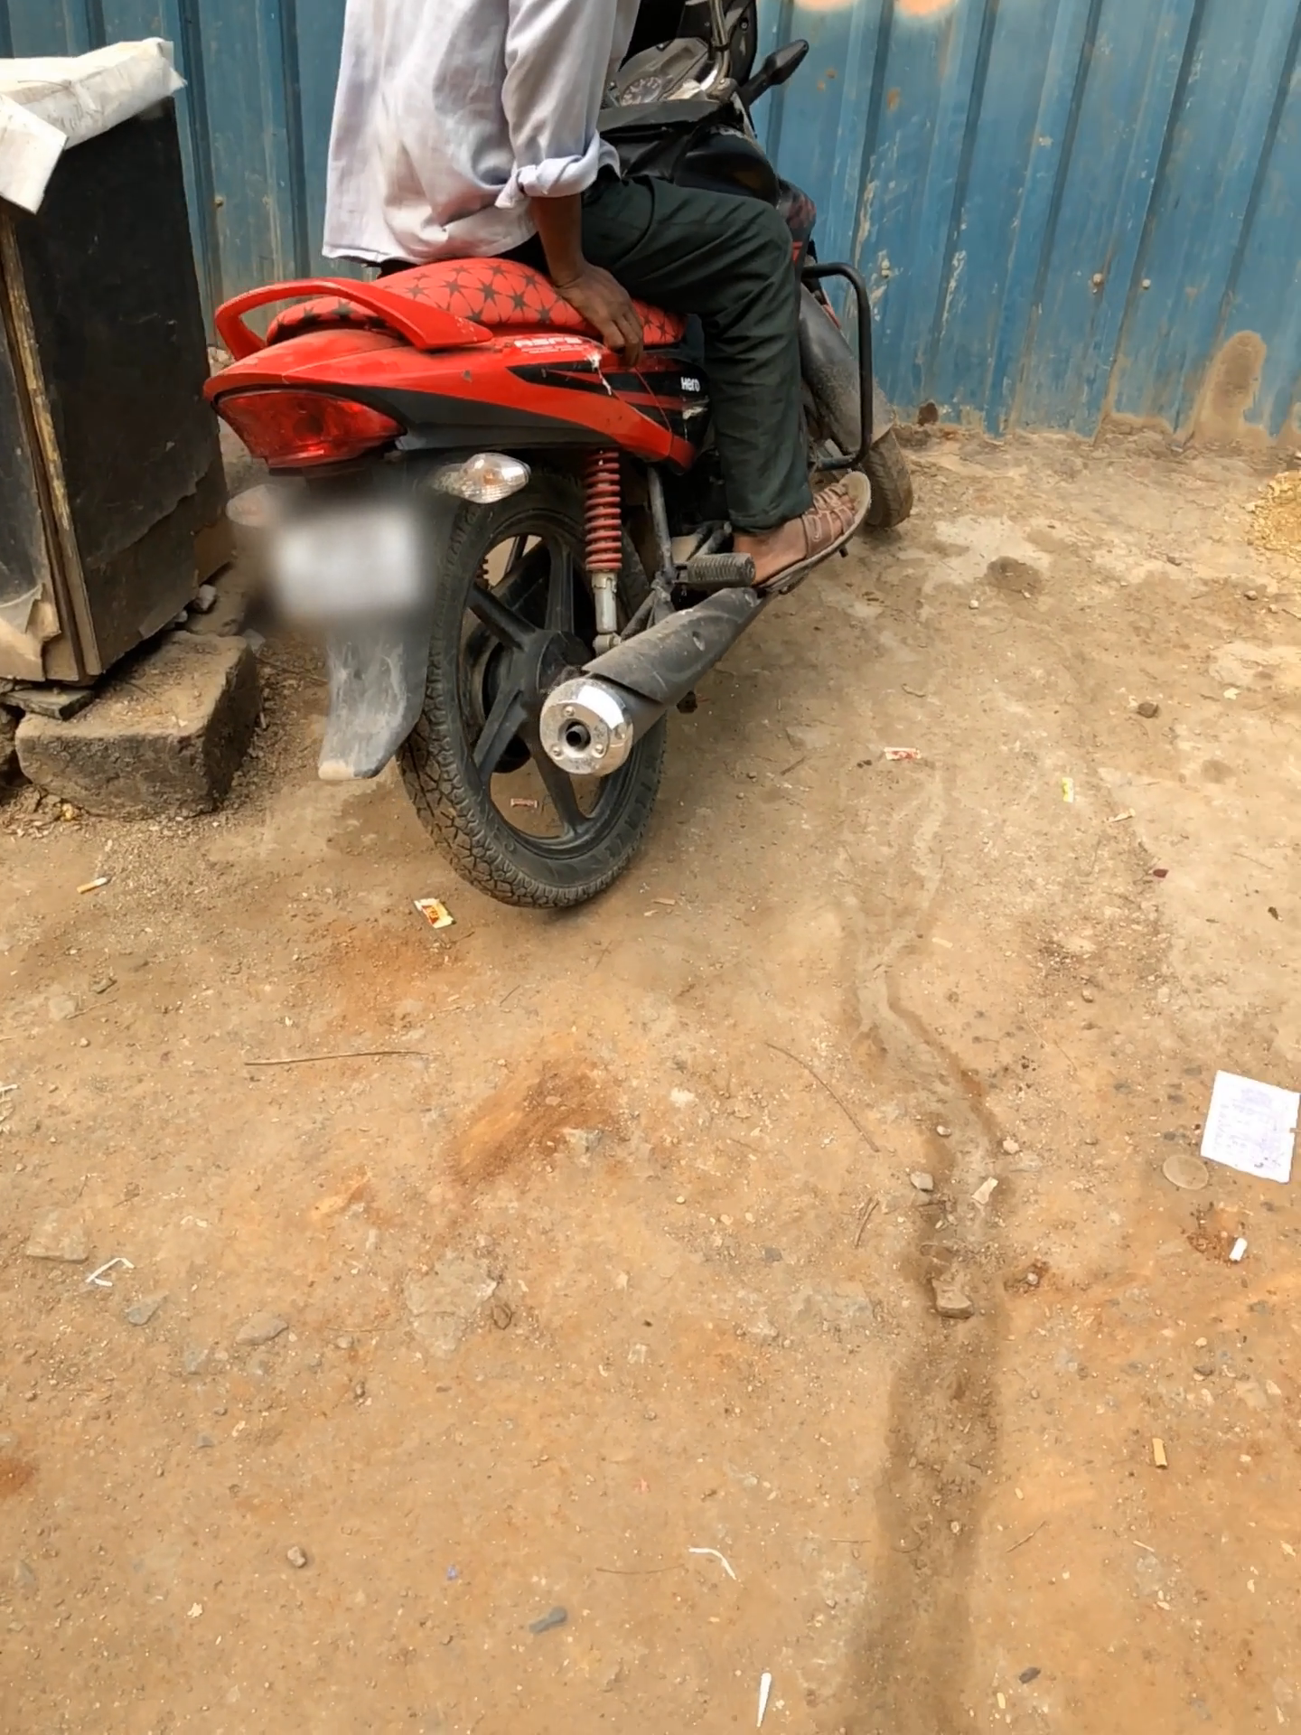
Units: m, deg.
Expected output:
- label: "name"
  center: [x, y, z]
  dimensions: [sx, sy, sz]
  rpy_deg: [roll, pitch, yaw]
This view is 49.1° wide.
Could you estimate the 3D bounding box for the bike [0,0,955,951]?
- label: "bike"
  center: [-0.117, -0.981, 2.218]
  dimensions: [0.734, 1.129, 1.642]
  rpy_deg: [13, 40, 13]
